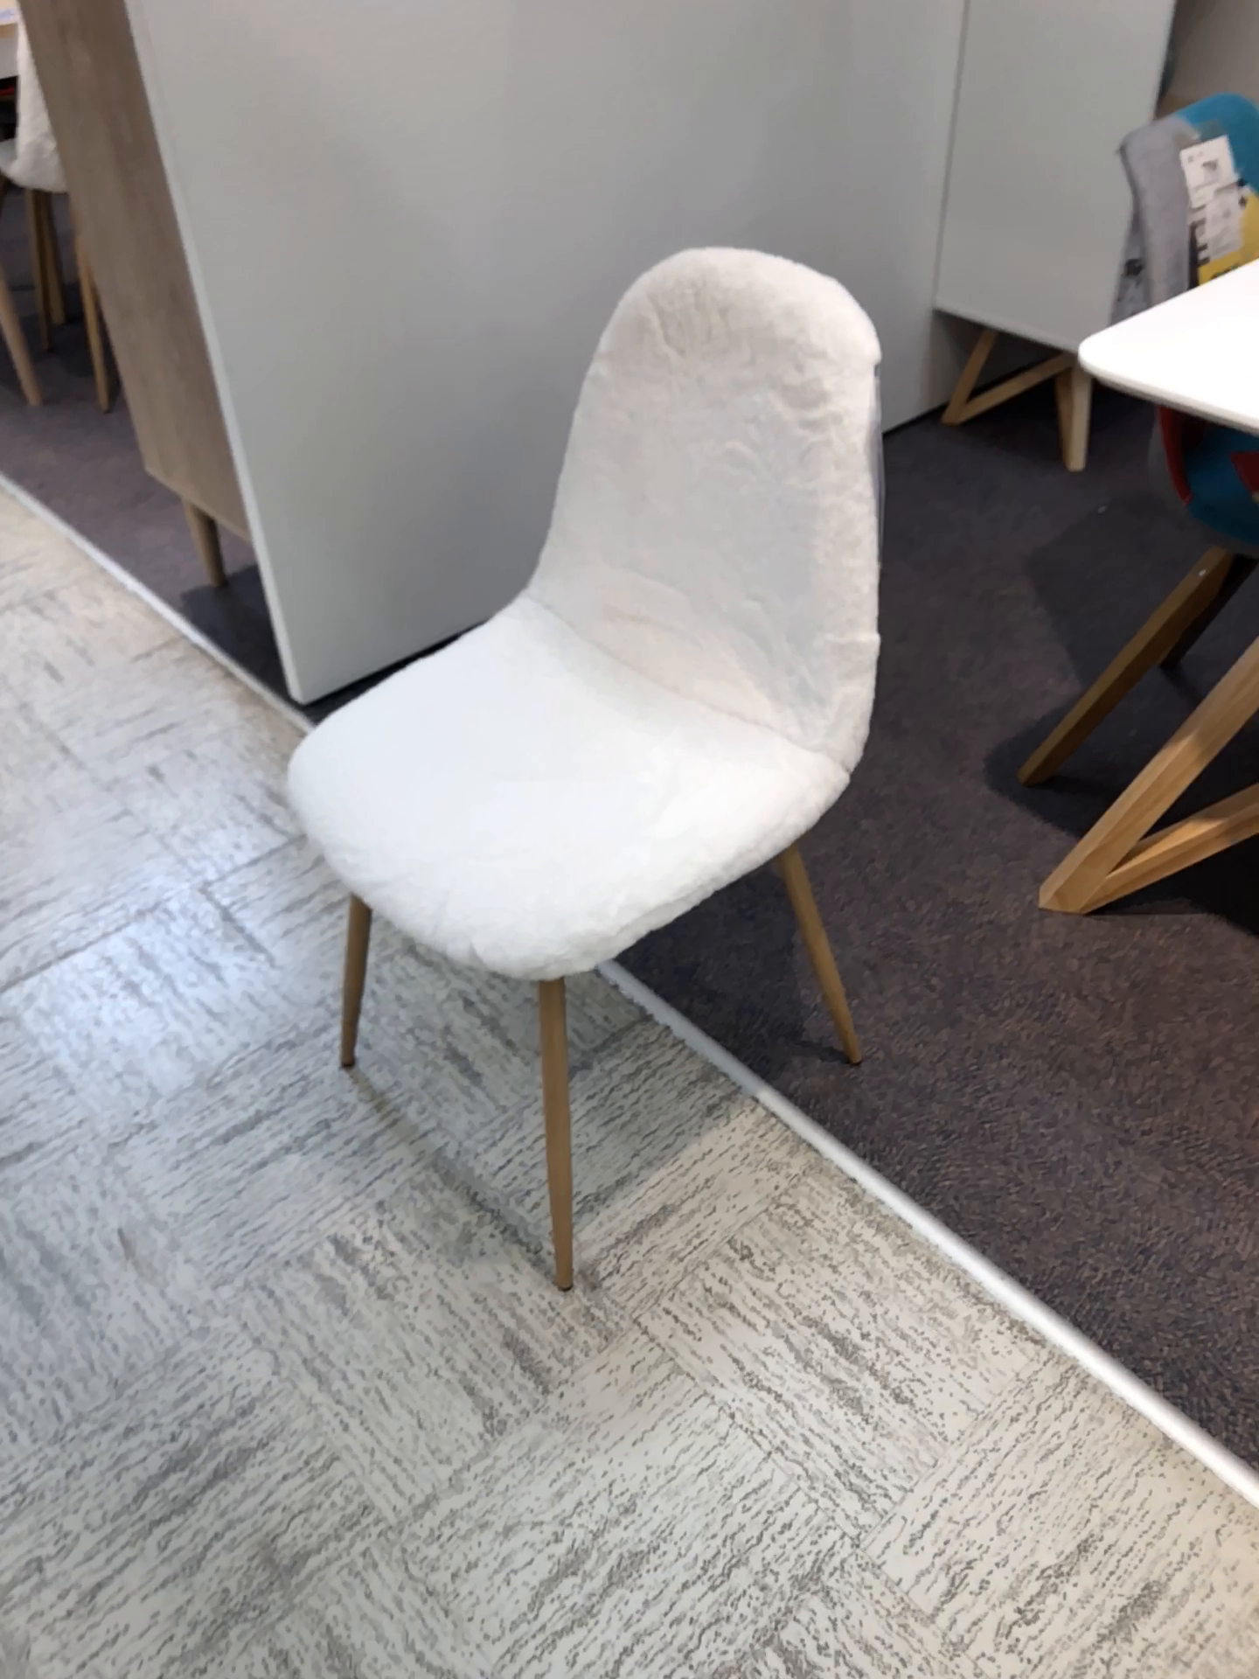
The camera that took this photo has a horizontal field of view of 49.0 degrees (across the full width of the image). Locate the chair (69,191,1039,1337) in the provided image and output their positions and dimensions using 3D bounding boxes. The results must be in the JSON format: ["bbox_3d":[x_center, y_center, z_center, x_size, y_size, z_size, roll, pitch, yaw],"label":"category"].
[{"bbox_3d":[-0.047,-0.083,1.343,0.553,0.815,0.521,-33,50,-31],"label":"chair"}]
